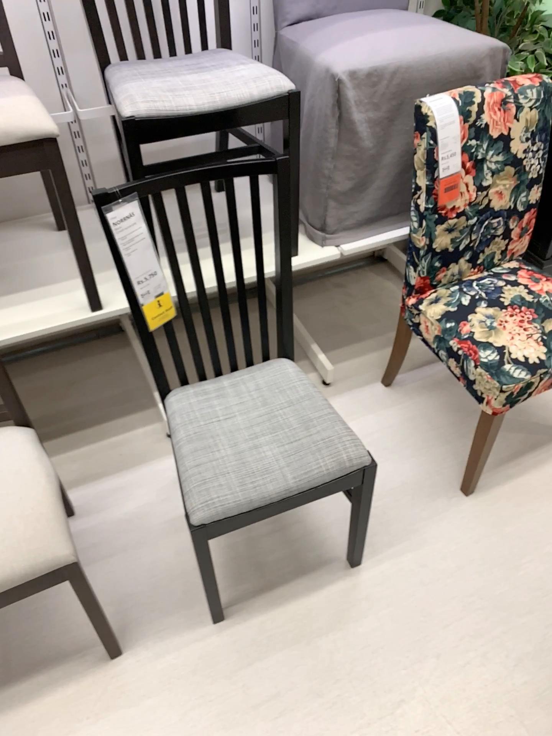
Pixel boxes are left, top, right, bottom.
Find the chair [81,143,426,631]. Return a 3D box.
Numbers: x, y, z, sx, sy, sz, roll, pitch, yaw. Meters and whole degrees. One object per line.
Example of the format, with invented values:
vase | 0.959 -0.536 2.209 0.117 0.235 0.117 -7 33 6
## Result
chair | -0.070 0.071 1.291 0.440 0.896 0.552 -16 45 -15
